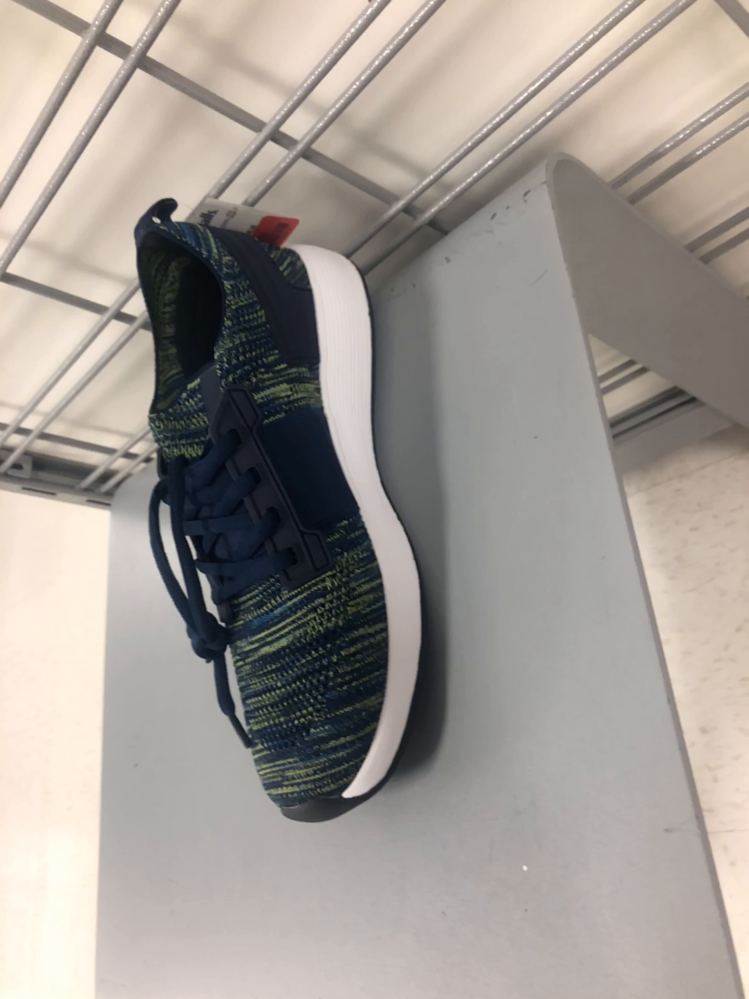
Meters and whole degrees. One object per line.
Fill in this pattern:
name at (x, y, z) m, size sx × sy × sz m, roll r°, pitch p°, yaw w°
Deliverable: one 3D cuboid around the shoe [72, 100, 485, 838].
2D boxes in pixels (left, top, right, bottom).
shoe at (-0.052, -0.010, 0.362) m, size 0.113 × 0.105 × 0.276 m, roll -29°, pitch 59°, yaw 40°
